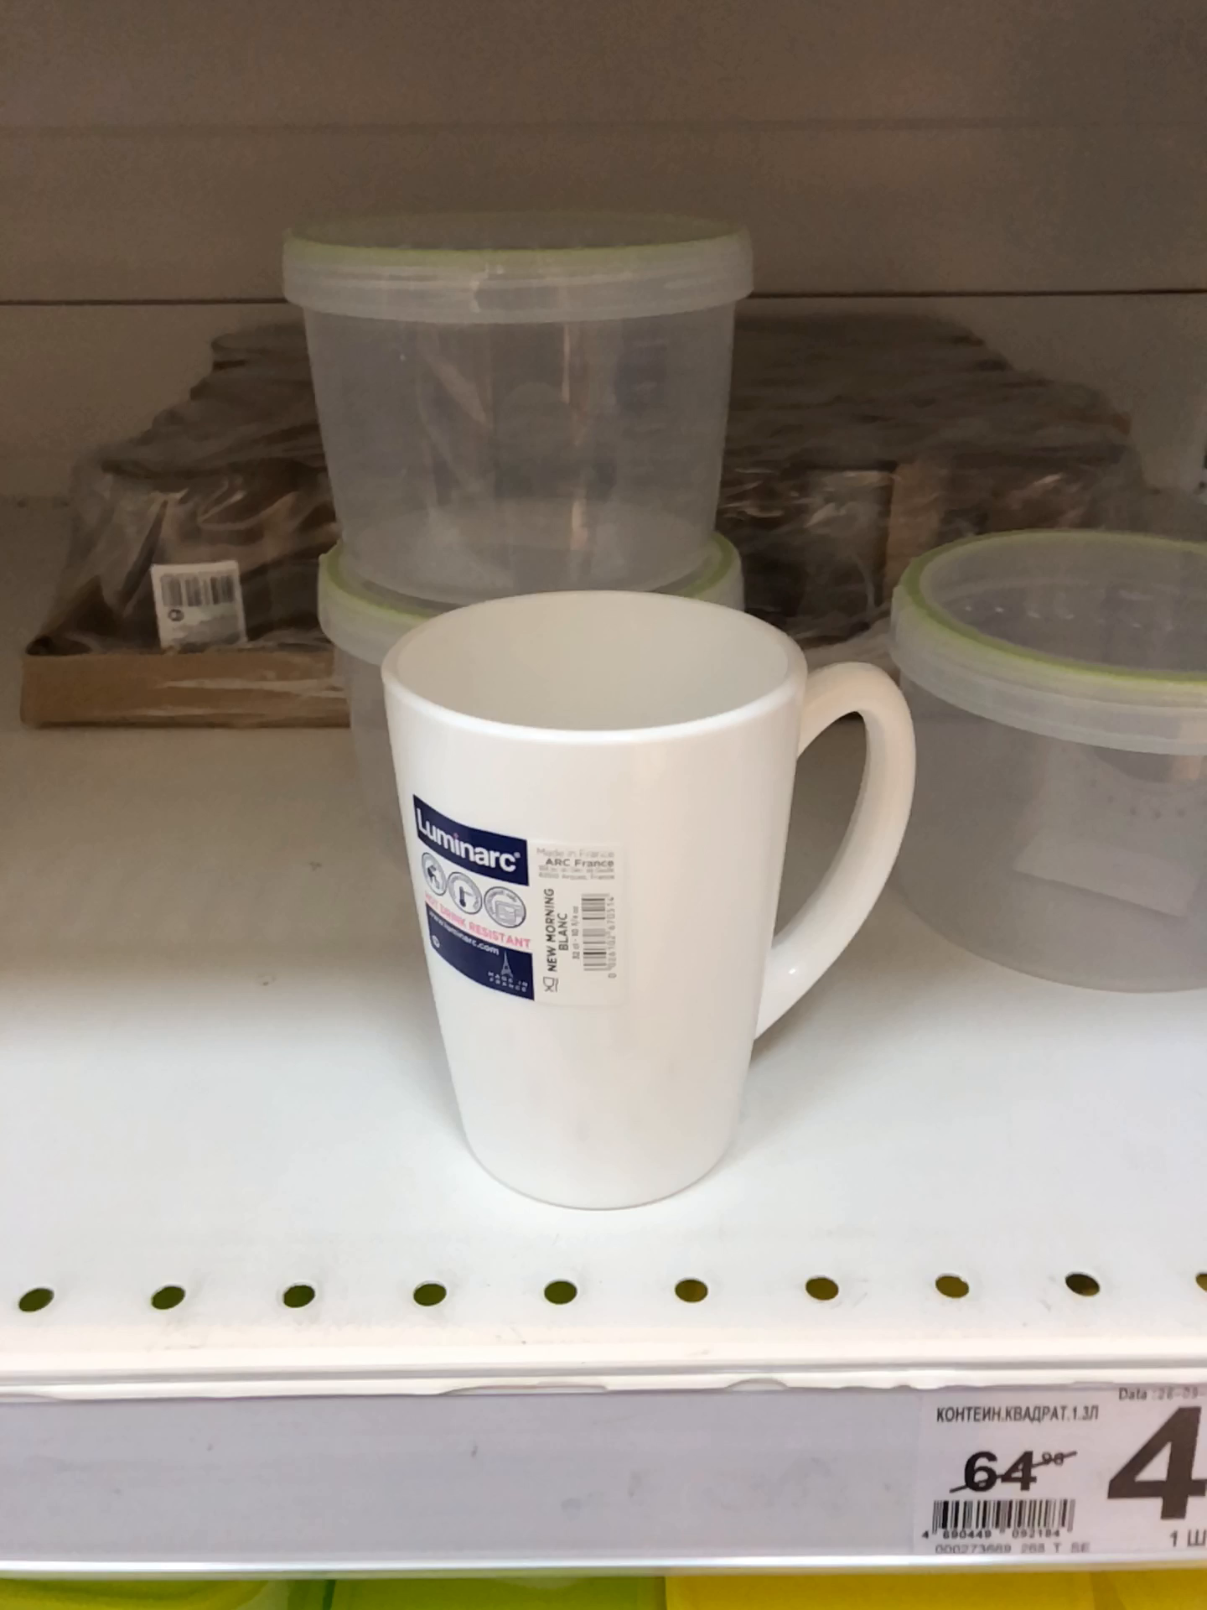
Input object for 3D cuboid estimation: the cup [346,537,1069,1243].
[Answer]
[{"bbox_3d":[0.014,0.013,0.280,0.120,0.107,0.079,-6,29,-10],"label":"cup"}]
